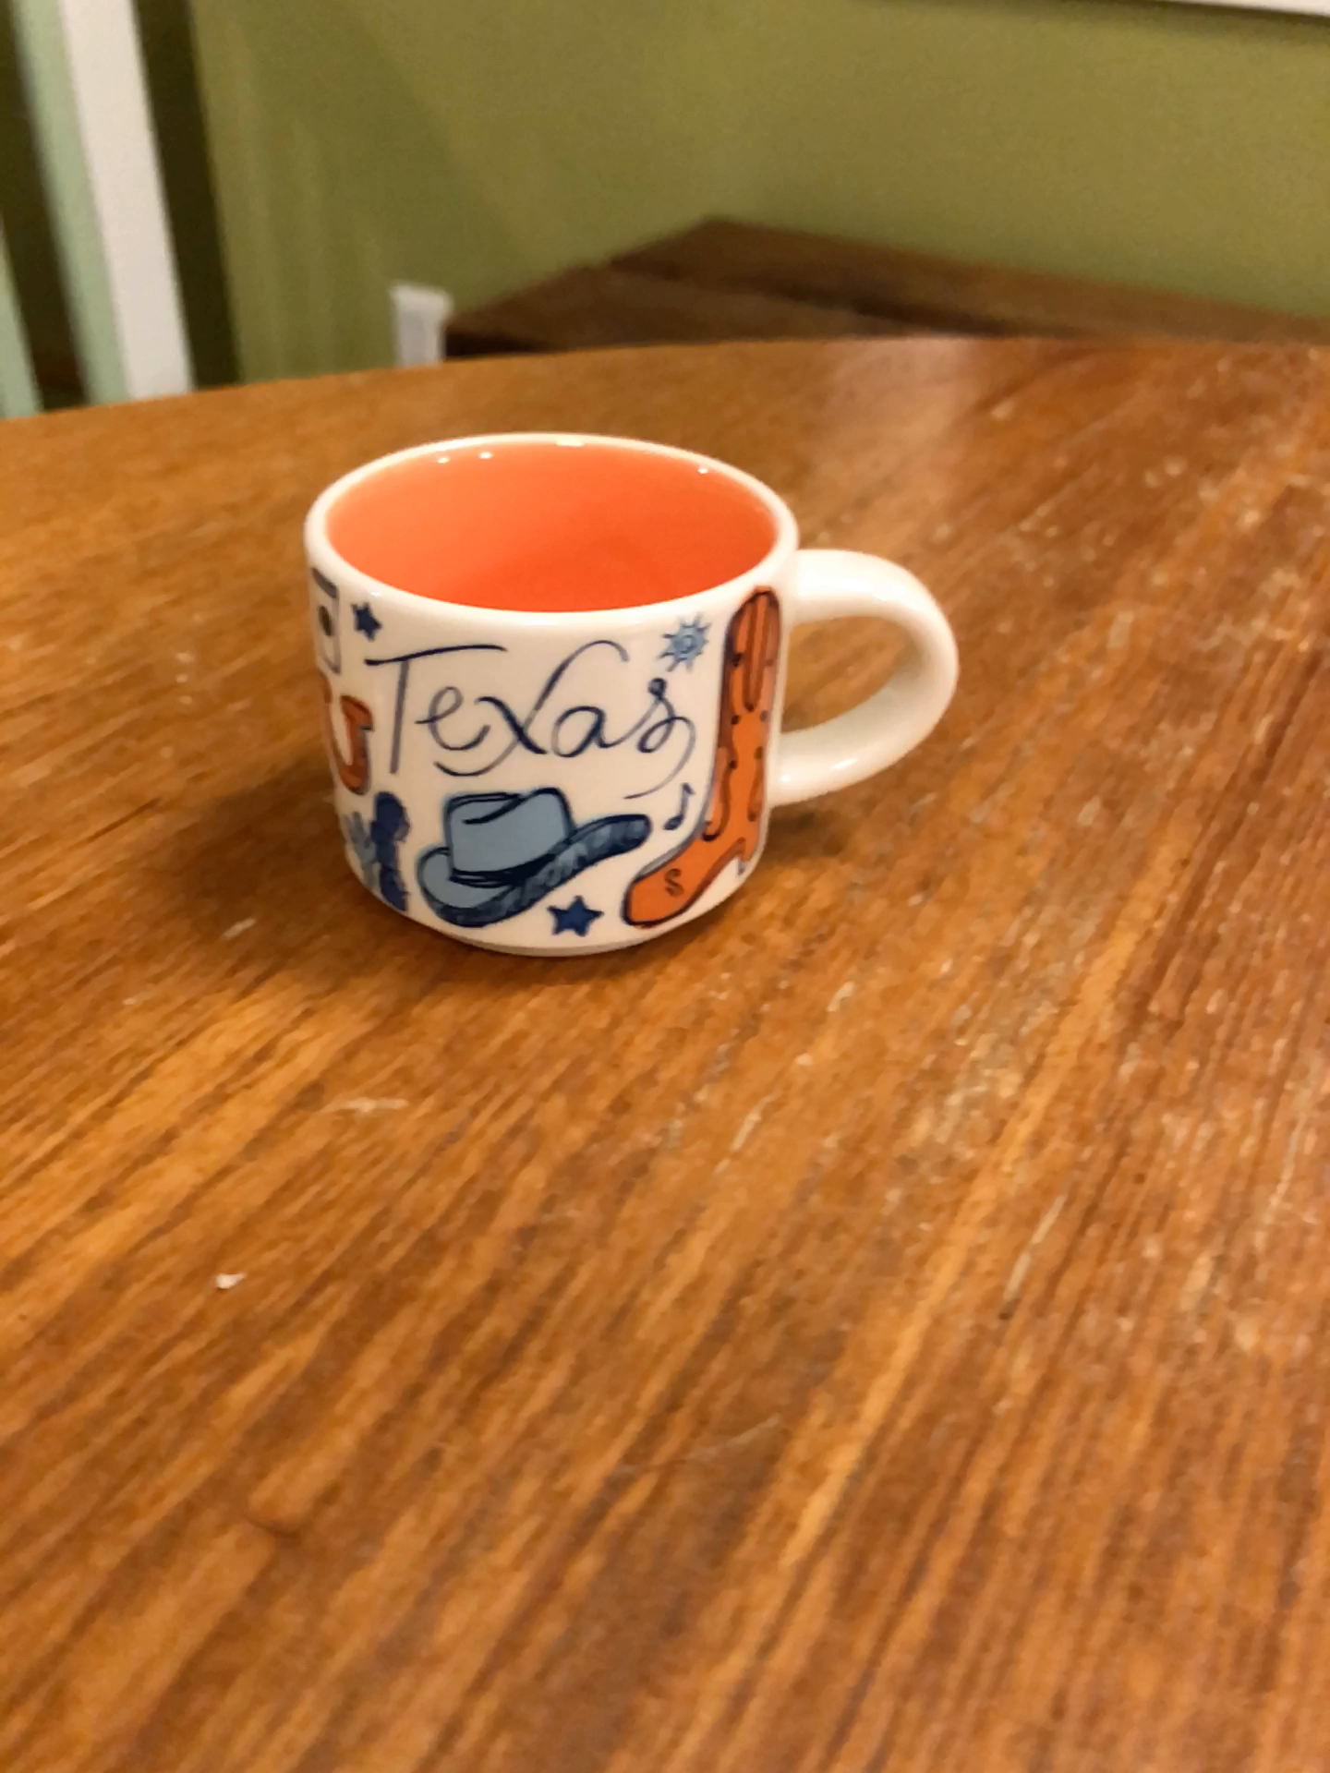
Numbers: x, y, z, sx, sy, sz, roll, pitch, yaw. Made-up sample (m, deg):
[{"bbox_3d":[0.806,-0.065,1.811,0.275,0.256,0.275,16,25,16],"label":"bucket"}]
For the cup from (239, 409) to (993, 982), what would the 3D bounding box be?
[{"bbox_3d":[-0.007,-0.027,0.190,0.076,0.046,0.064,-2,36,-5],"label":"cup"}]
